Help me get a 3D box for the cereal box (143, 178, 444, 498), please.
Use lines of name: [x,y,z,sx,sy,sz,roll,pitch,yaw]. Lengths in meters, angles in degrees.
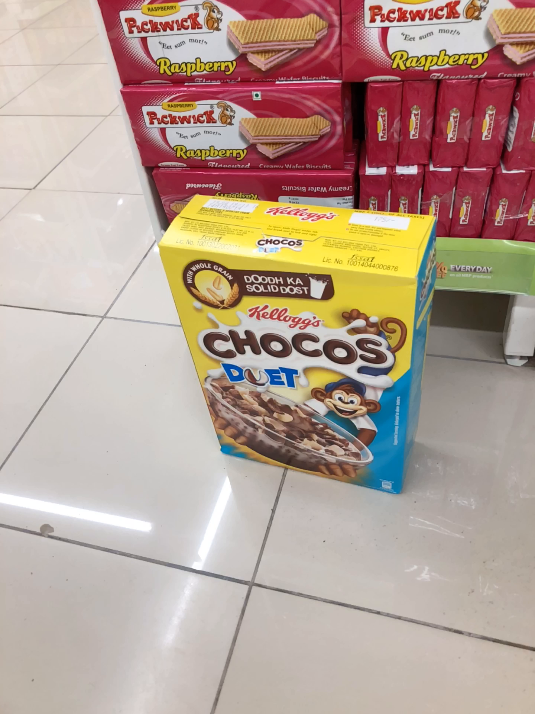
cereal box: [0.031,-0.005,0.485,0.190,0.259,0.070,10,48,19]
